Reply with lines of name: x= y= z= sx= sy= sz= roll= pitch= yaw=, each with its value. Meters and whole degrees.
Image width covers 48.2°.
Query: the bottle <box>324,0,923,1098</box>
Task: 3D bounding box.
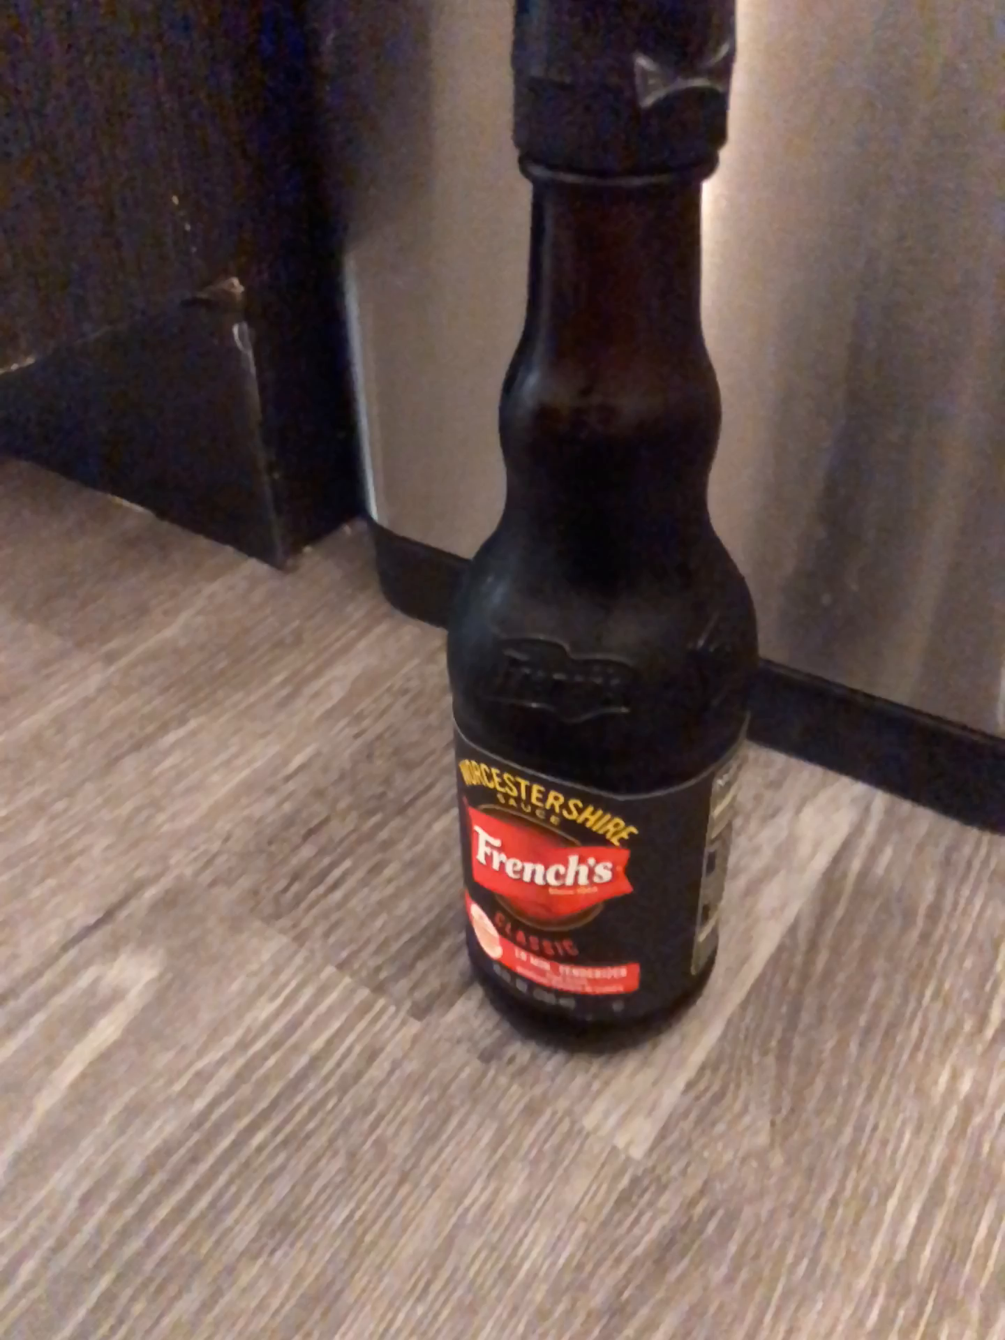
bottle: x=0.021 y=-0.013 z=0.210 sx=0.060 sy=0.199 sz=0.060 roll=-1 pitch=38 yaw=1
